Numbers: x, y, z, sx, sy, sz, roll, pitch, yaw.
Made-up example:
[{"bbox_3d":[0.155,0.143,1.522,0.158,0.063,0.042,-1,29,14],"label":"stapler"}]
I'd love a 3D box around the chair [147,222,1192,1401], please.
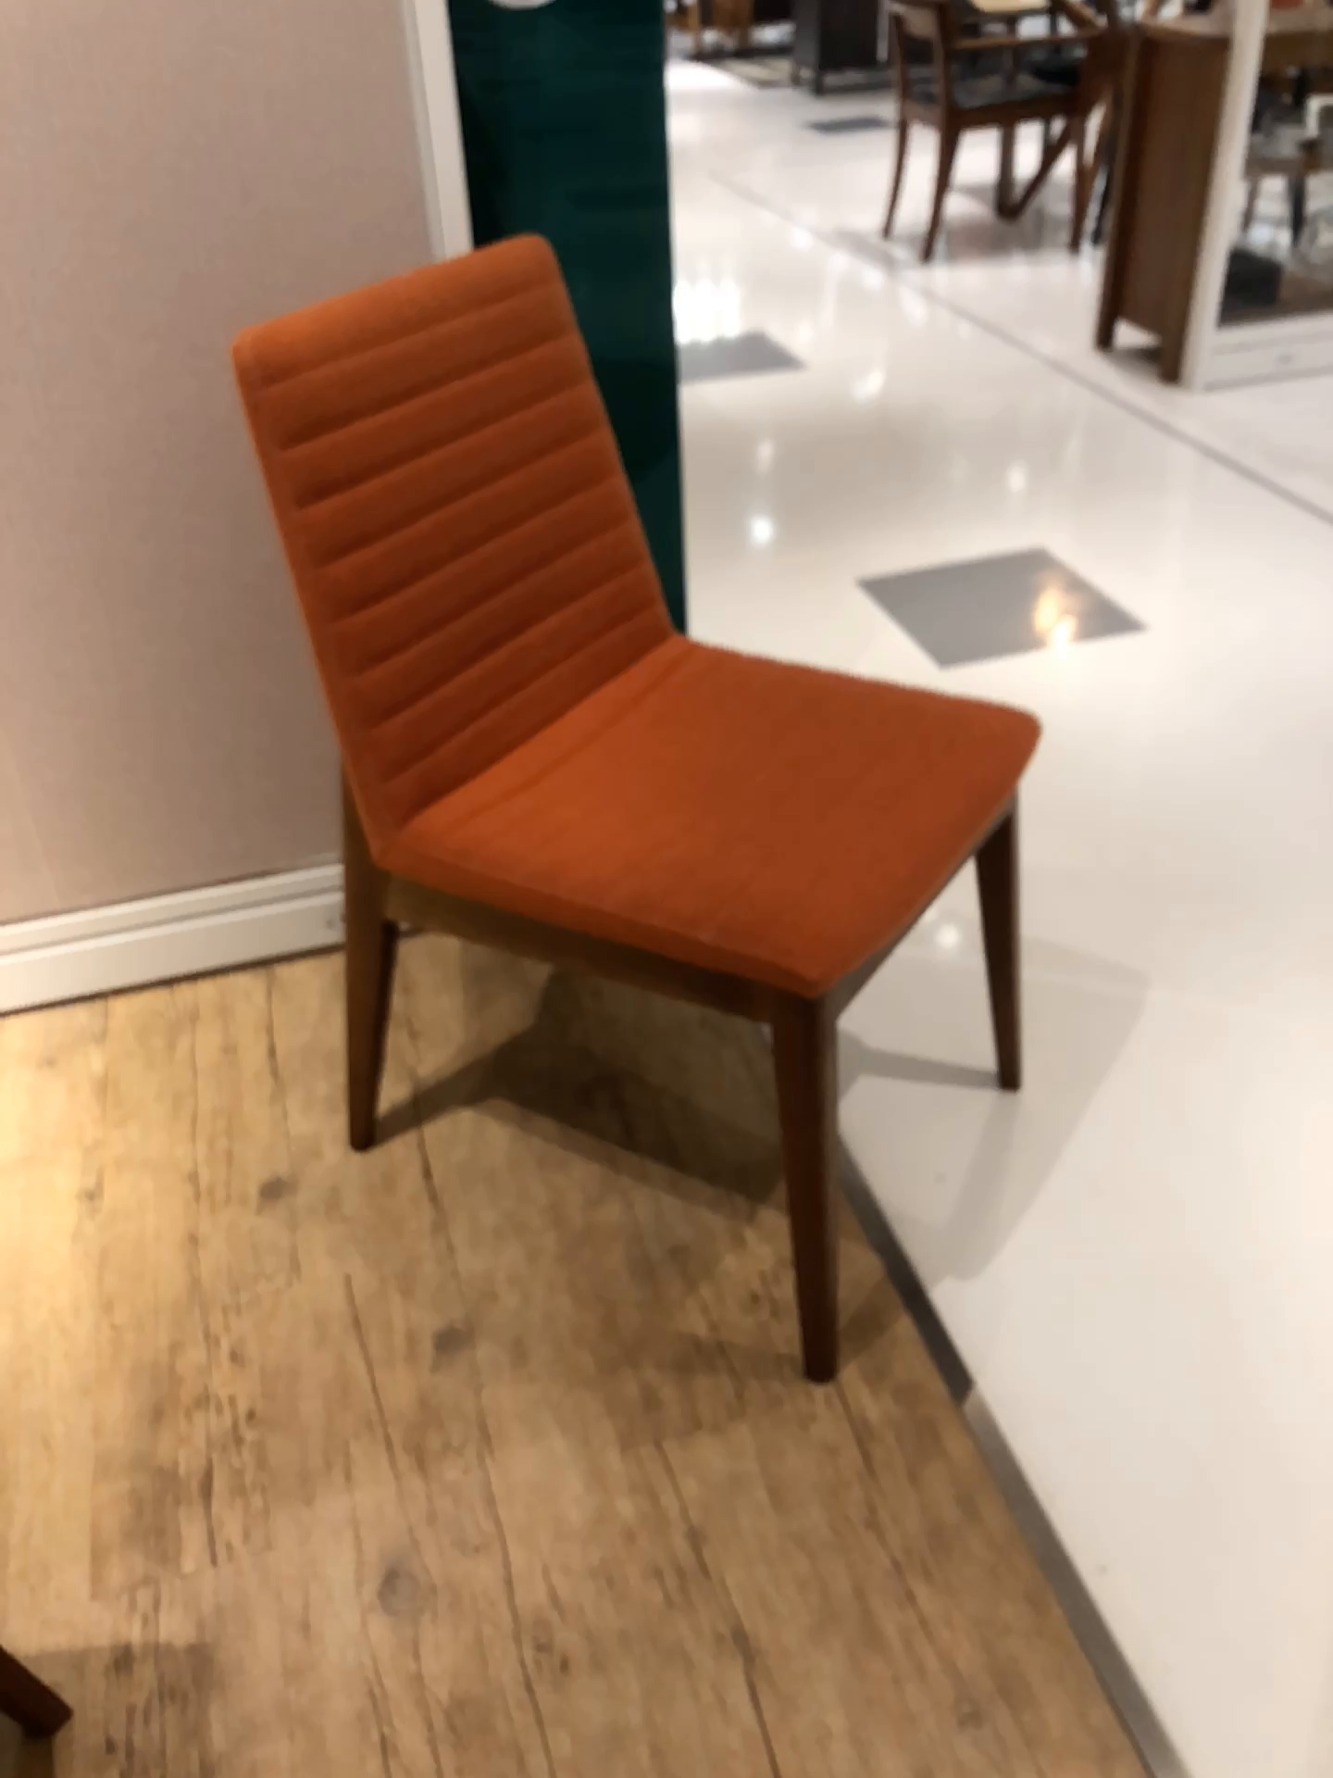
[{"bbox_3d":[0.032,-0.109,1.392,0.631,0.814,0.533,18,40,27],"label":"chair"}]
